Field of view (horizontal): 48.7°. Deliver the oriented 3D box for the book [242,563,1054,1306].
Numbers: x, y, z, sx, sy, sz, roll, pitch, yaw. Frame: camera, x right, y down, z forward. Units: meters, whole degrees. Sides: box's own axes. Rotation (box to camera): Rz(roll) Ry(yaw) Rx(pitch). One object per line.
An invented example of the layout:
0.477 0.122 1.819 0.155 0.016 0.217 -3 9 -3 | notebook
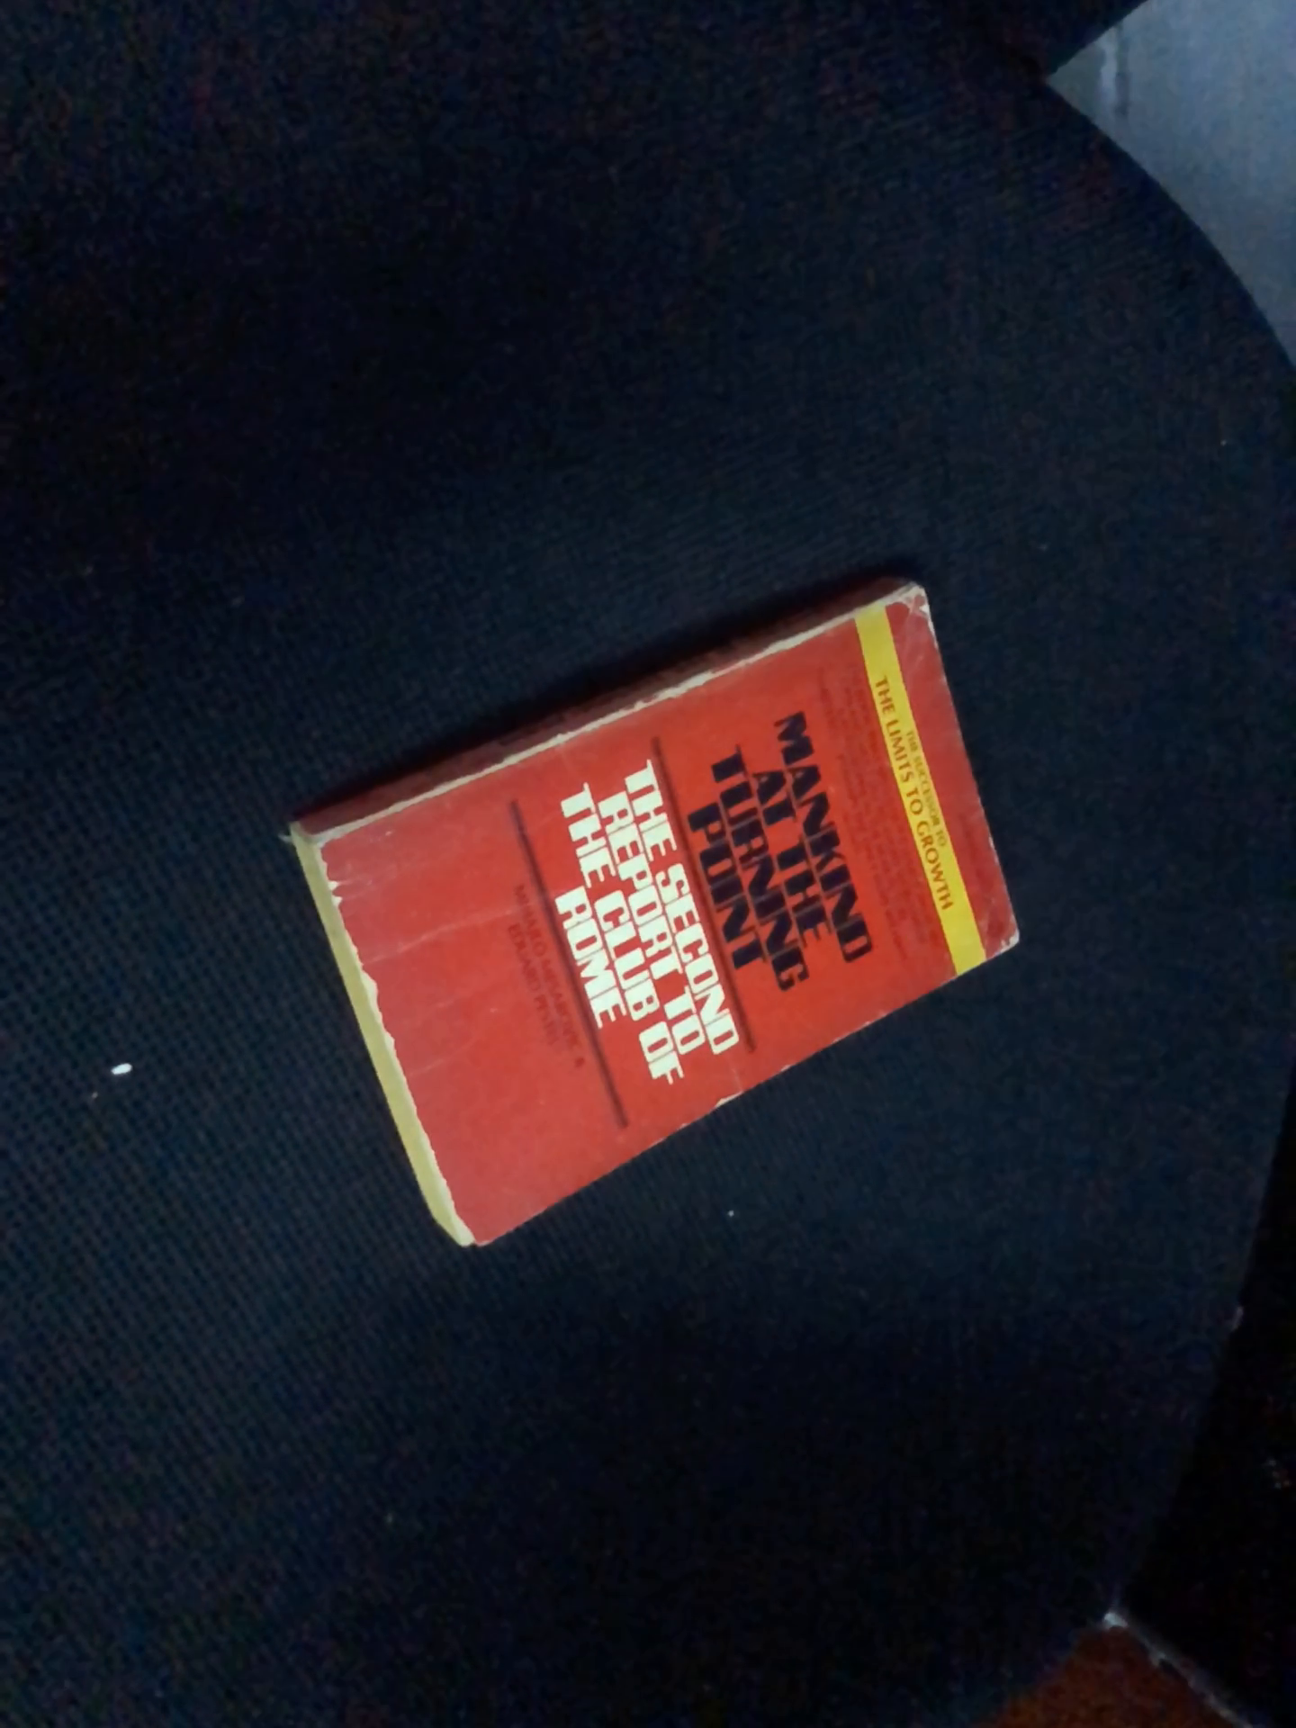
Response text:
0.012 0.011 0.370 0.195 0.025 0.117 -26 107 -23 | book
